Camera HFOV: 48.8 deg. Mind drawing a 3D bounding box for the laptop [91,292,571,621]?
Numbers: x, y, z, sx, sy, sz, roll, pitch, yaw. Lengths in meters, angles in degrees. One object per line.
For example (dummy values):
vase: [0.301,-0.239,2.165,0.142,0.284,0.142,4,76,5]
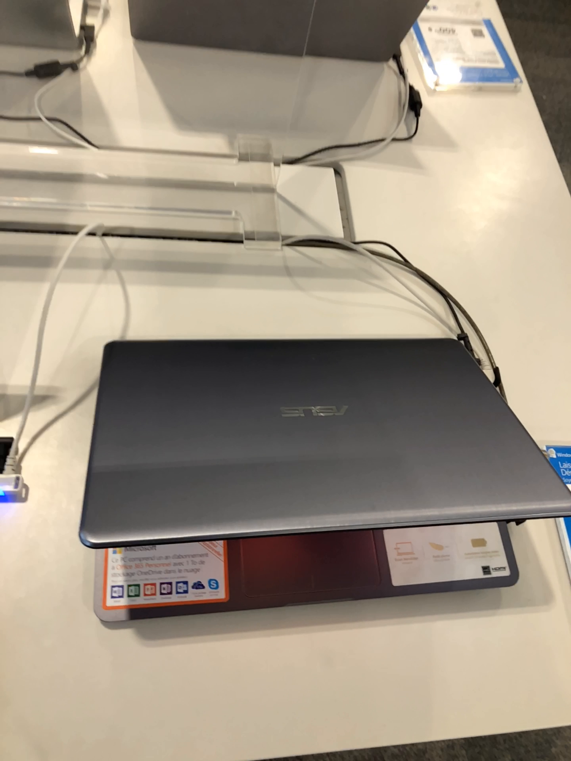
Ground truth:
laptop: [0.021,0.047,0.459,0.300,0.099,0.201,-1,62,-12]
